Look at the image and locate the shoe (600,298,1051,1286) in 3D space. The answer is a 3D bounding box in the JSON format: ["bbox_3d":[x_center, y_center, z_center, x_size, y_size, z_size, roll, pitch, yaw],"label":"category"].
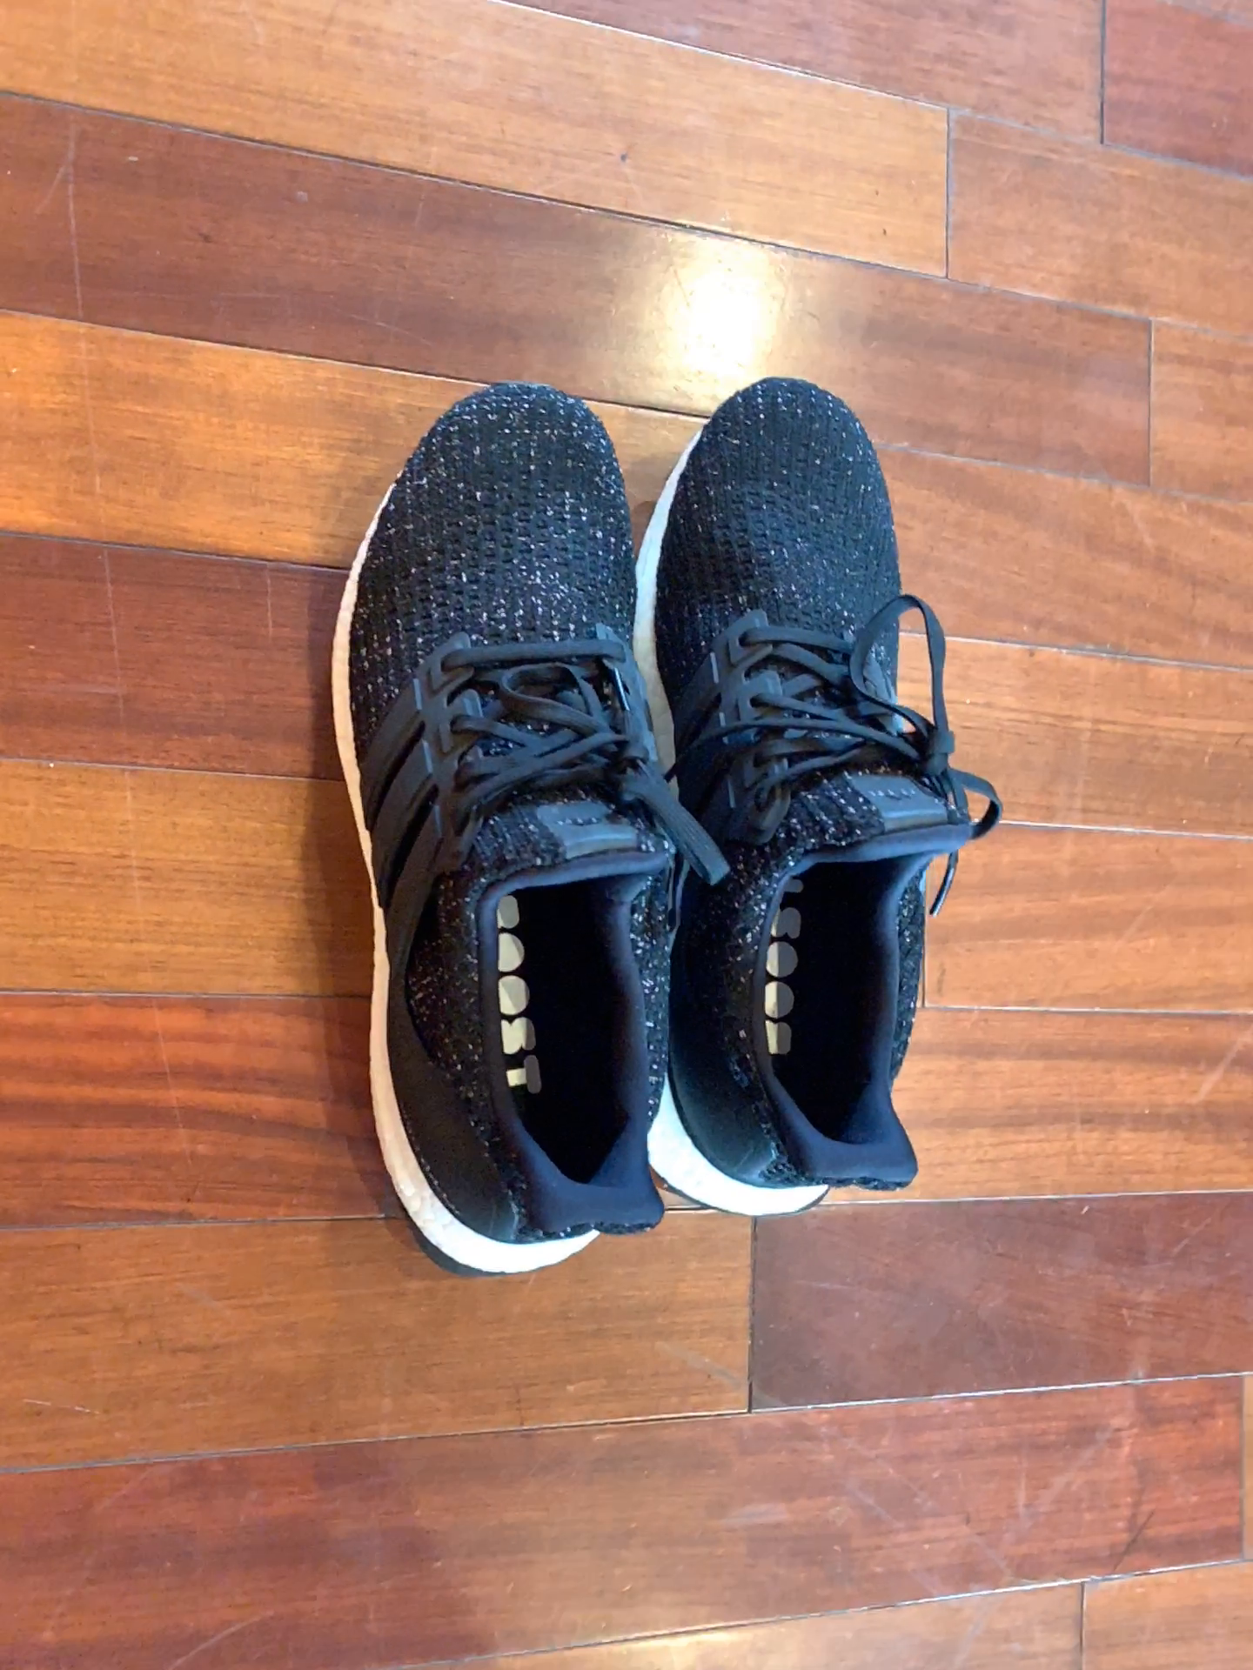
[{"bbox_3d":[0.064,-0.010,0.437,0.110,0.100,0.290,4,85,-16],"label":"shoe"}]

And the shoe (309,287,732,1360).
[{"bbox_3d":[-0.042,-0.005,0.421,0.110,0.100,0.300,-1,86,-17],"label":"shoe"}]
